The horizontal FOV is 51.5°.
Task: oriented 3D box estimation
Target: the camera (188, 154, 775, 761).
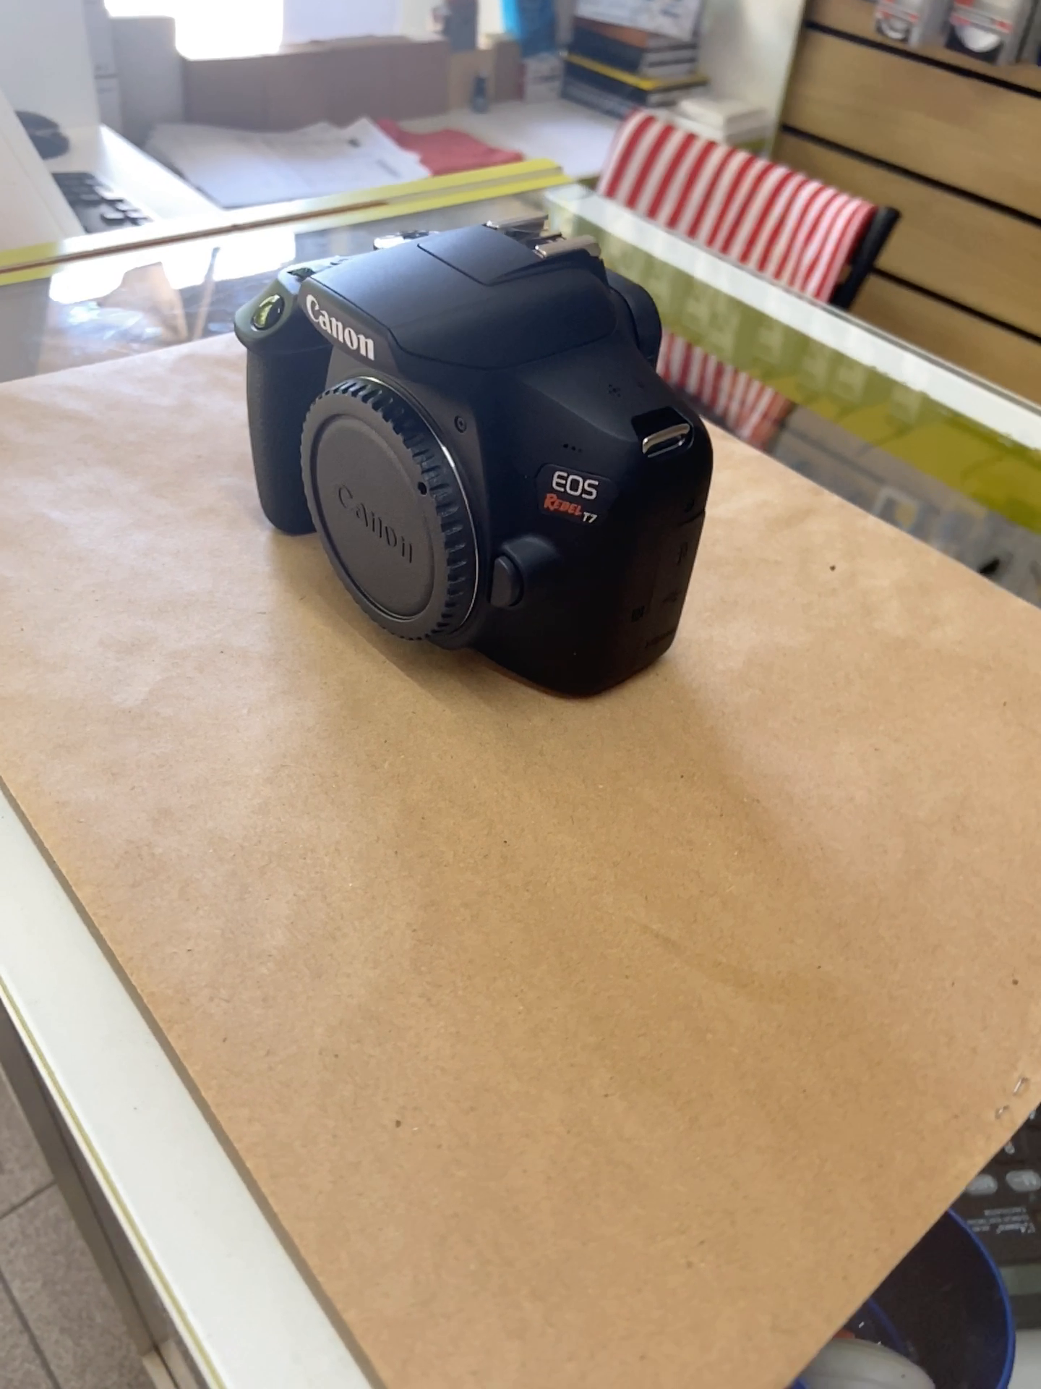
[{"bbox_3d":[-0.017,-0.068,0.282,0.071,0.092,0.131,-27,51,-31],"label":"camera"}]
